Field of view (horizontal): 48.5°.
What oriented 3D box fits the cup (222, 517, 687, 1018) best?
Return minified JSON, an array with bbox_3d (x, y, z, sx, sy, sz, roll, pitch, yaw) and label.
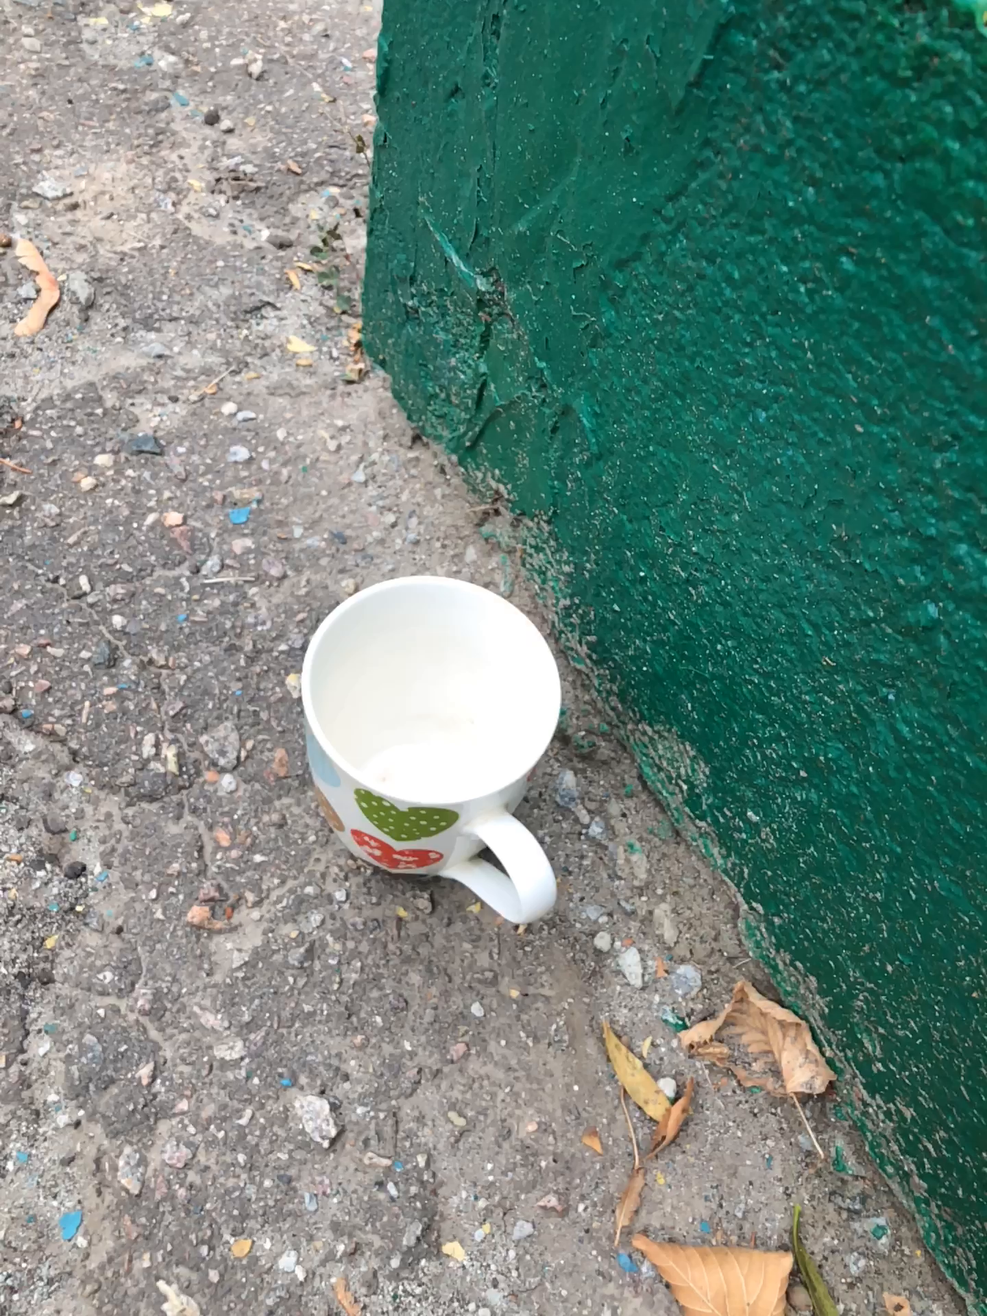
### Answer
[{"bbox_3d":[-0.018,0.035,0.356,0.082,0.079,0.116,-35,72,-27],"label":"cup"}]
